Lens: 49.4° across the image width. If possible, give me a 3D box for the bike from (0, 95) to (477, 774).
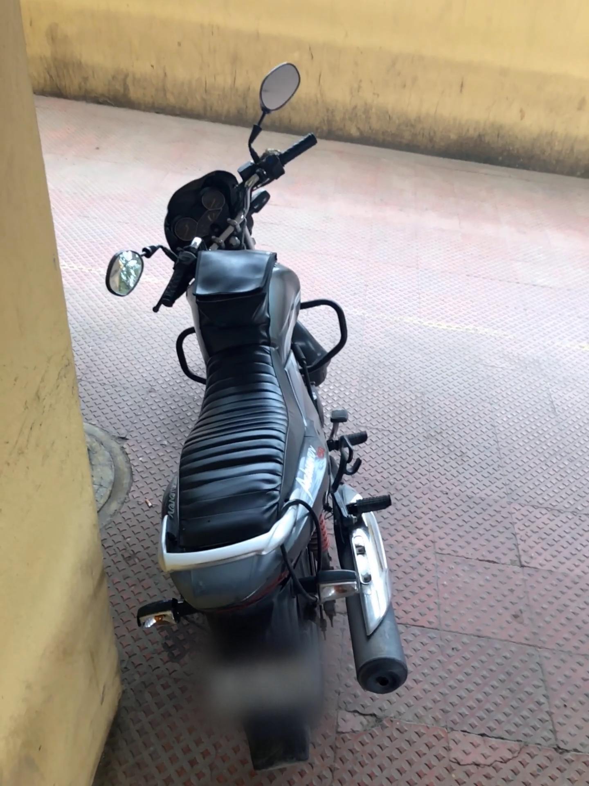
[{"bbox_3d":[-0.265,0.031,1.813,0.720,1.166,1.476,-1,40,-10],"label":"bike"}]
